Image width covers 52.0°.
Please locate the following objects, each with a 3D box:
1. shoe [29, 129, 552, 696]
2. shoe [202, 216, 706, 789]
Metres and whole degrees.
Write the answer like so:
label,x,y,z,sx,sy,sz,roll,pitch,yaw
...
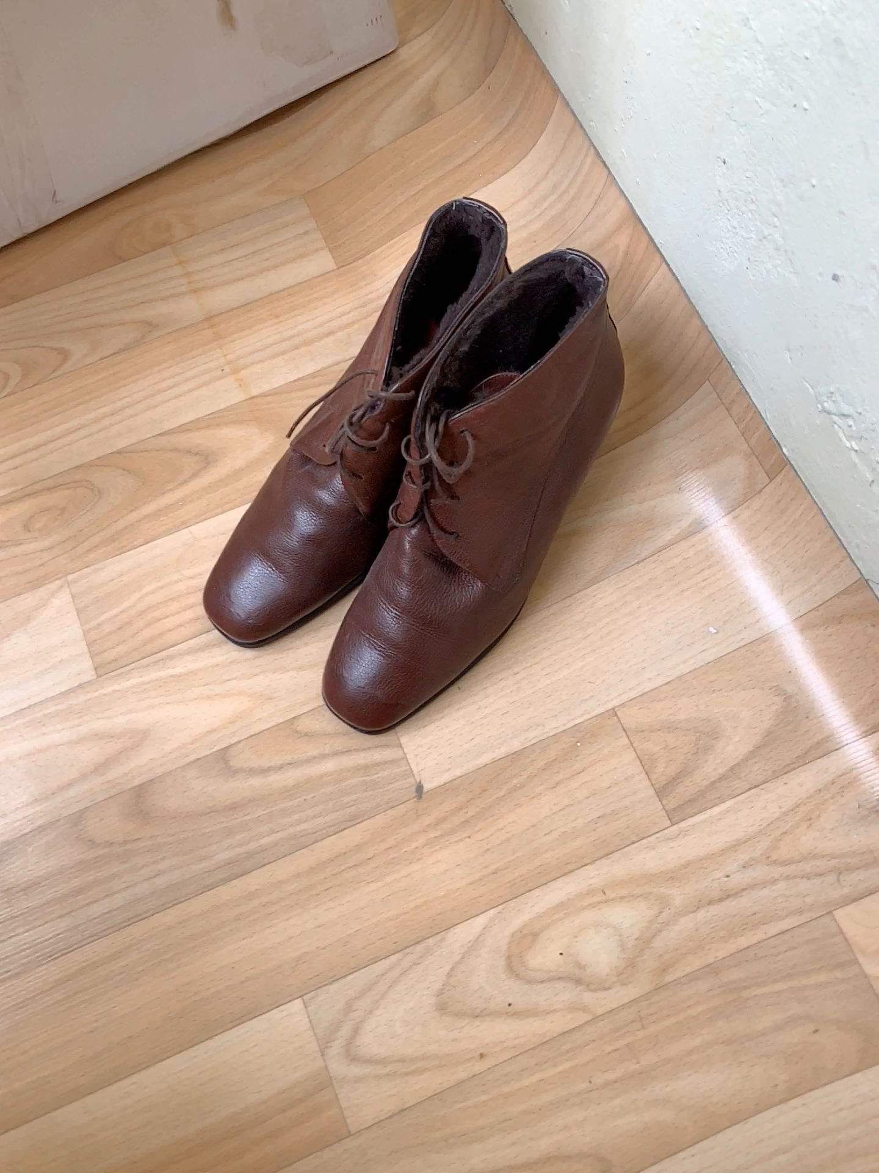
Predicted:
label,x,y,z,sx,sy,sz,roll,pitch,yaw
shoe,-0.050,-0.070,0.430,0.080,0.150,0.220,40,80,16
shoe,0.015,-0.027,0.421,0.080,0.150,0.220,35,78,15
